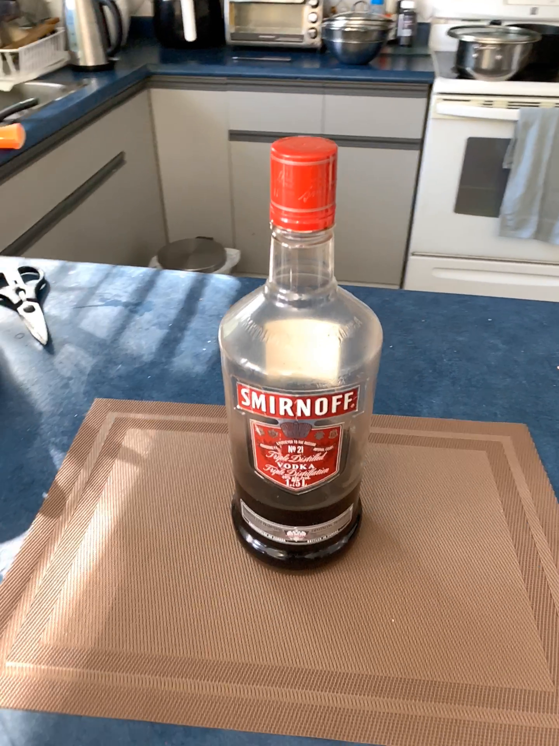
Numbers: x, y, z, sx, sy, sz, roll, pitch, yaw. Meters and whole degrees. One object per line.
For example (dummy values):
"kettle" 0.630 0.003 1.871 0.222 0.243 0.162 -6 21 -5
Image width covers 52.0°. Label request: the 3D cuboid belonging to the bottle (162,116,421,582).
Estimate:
"bottle" 0.010 0.003 0.405 0.120 0.317 0.111 0 37 0
